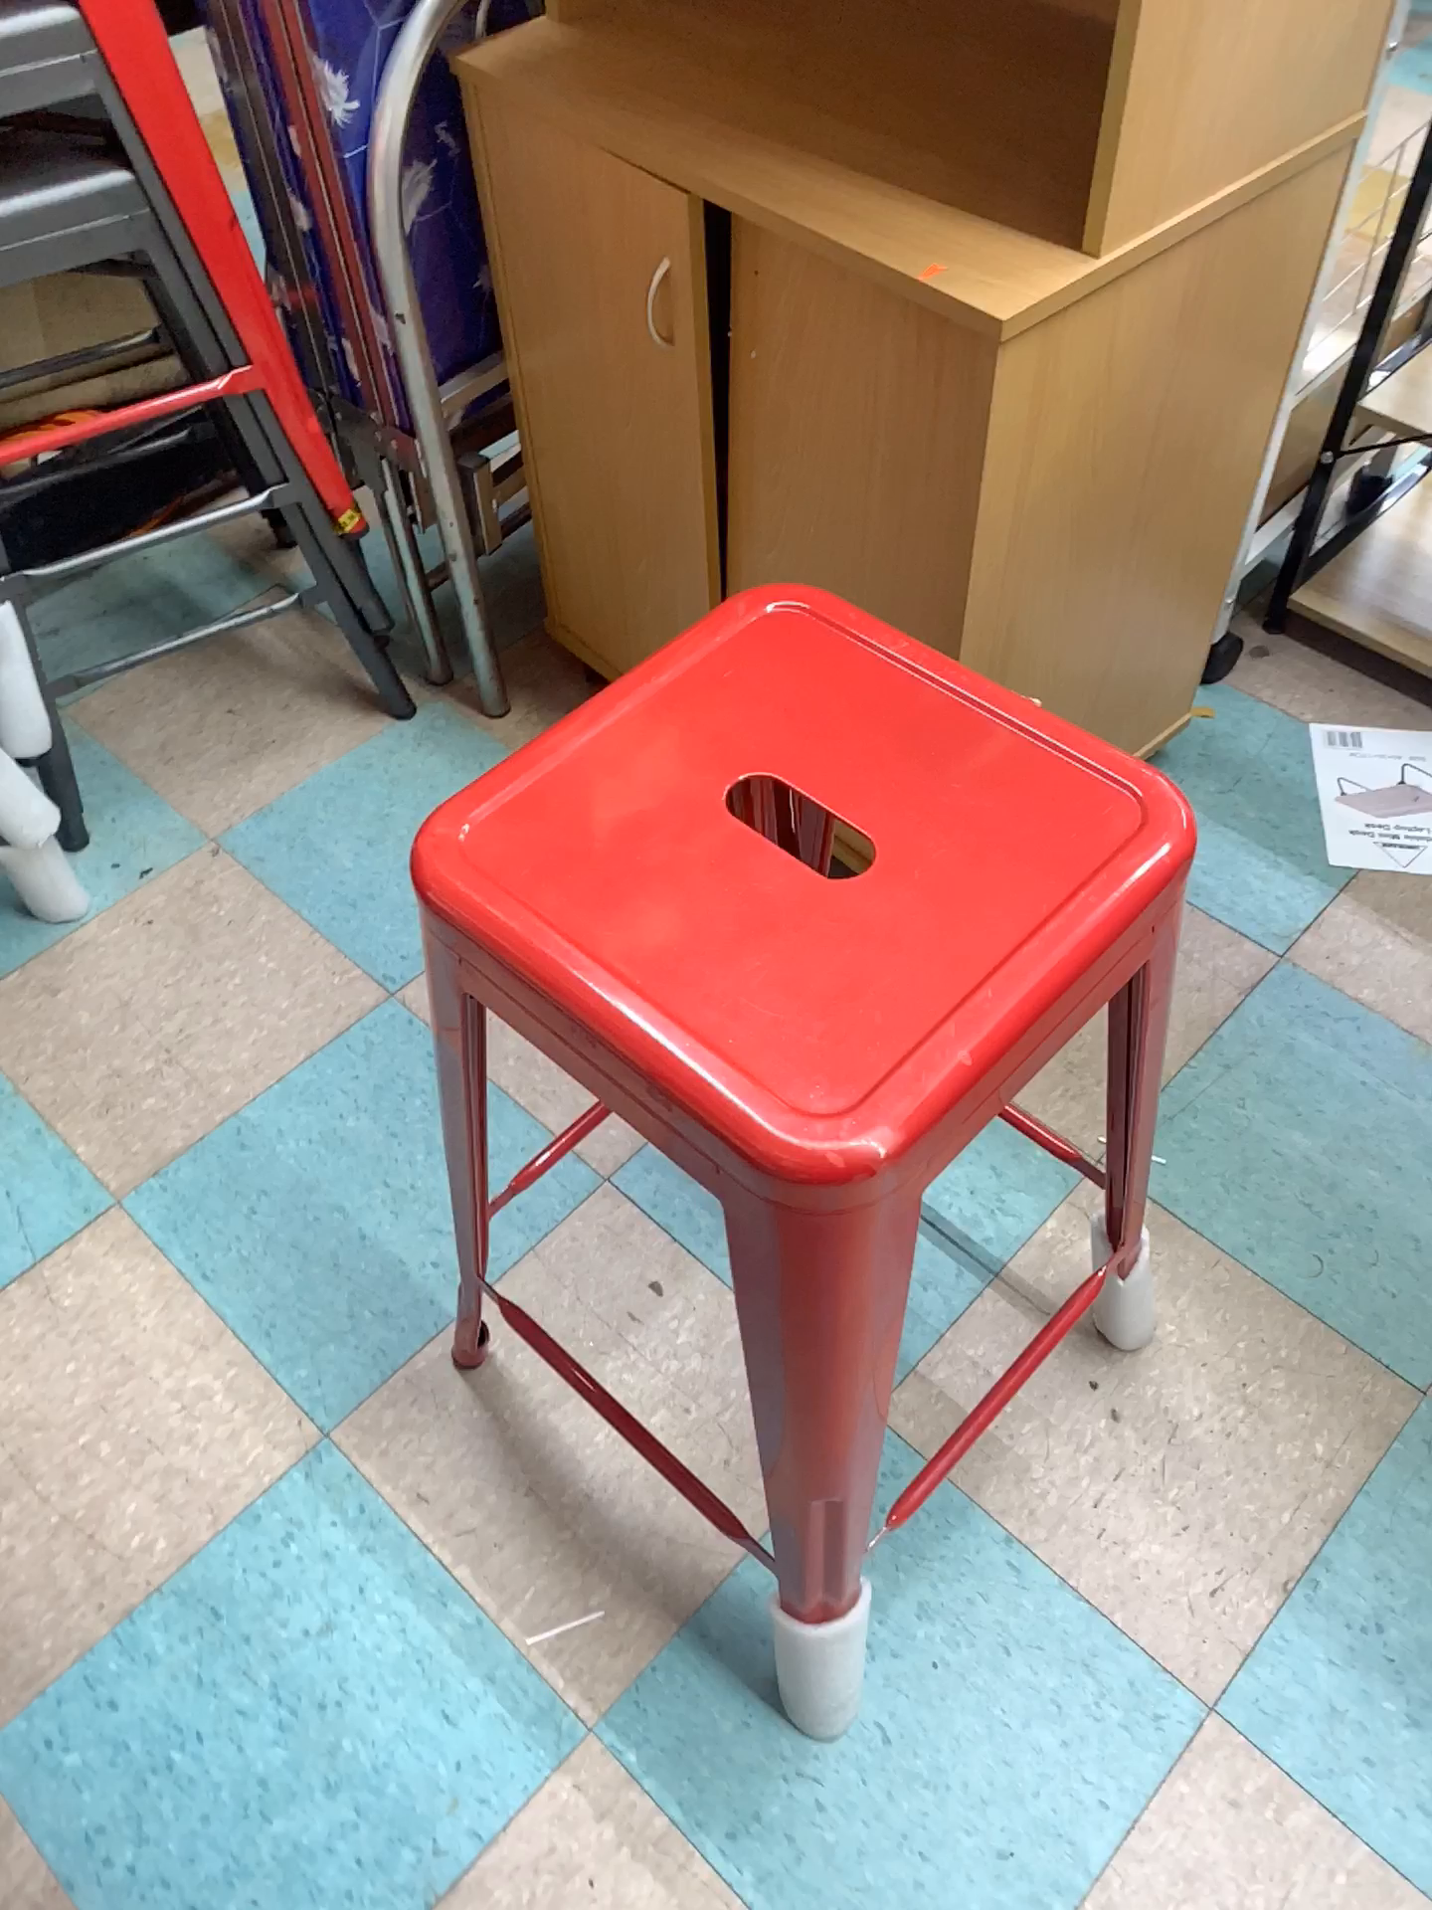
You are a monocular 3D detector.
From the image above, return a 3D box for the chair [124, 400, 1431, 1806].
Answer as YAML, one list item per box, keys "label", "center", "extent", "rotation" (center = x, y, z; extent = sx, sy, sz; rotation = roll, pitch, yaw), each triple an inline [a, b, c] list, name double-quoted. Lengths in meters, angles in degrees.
- label: "chair"
  center: [0.058, 0.112, 0.874]
  extent: [0.435, 0.599, 0.439]
  rotation: [36, 62, 27]
